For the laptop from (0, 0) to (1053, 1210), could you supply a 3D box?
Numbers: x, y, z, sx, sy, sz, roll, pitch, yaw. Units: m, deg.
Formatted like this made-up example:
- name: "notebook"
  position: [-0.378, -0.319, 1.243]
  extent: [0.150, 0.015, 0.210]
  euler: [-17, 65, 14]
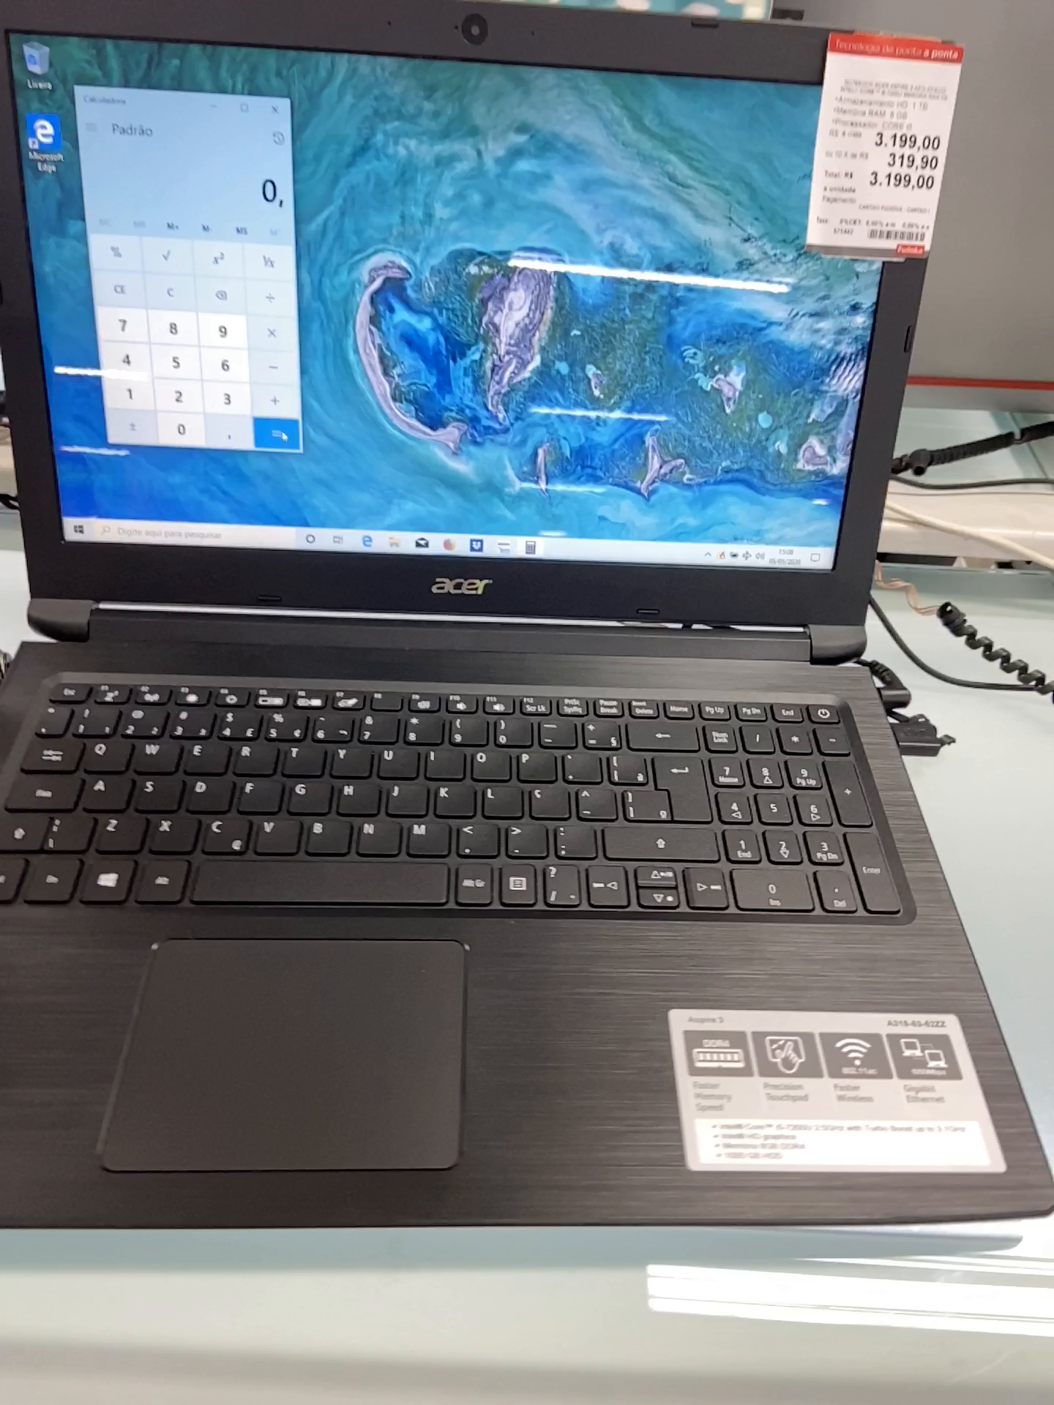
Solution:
- name: "laptop"
  position: [-0.021, -0.058, 0.362]
  extent: [0.375, 0.227, 0.354]
  euler: [1, 45, -2]
